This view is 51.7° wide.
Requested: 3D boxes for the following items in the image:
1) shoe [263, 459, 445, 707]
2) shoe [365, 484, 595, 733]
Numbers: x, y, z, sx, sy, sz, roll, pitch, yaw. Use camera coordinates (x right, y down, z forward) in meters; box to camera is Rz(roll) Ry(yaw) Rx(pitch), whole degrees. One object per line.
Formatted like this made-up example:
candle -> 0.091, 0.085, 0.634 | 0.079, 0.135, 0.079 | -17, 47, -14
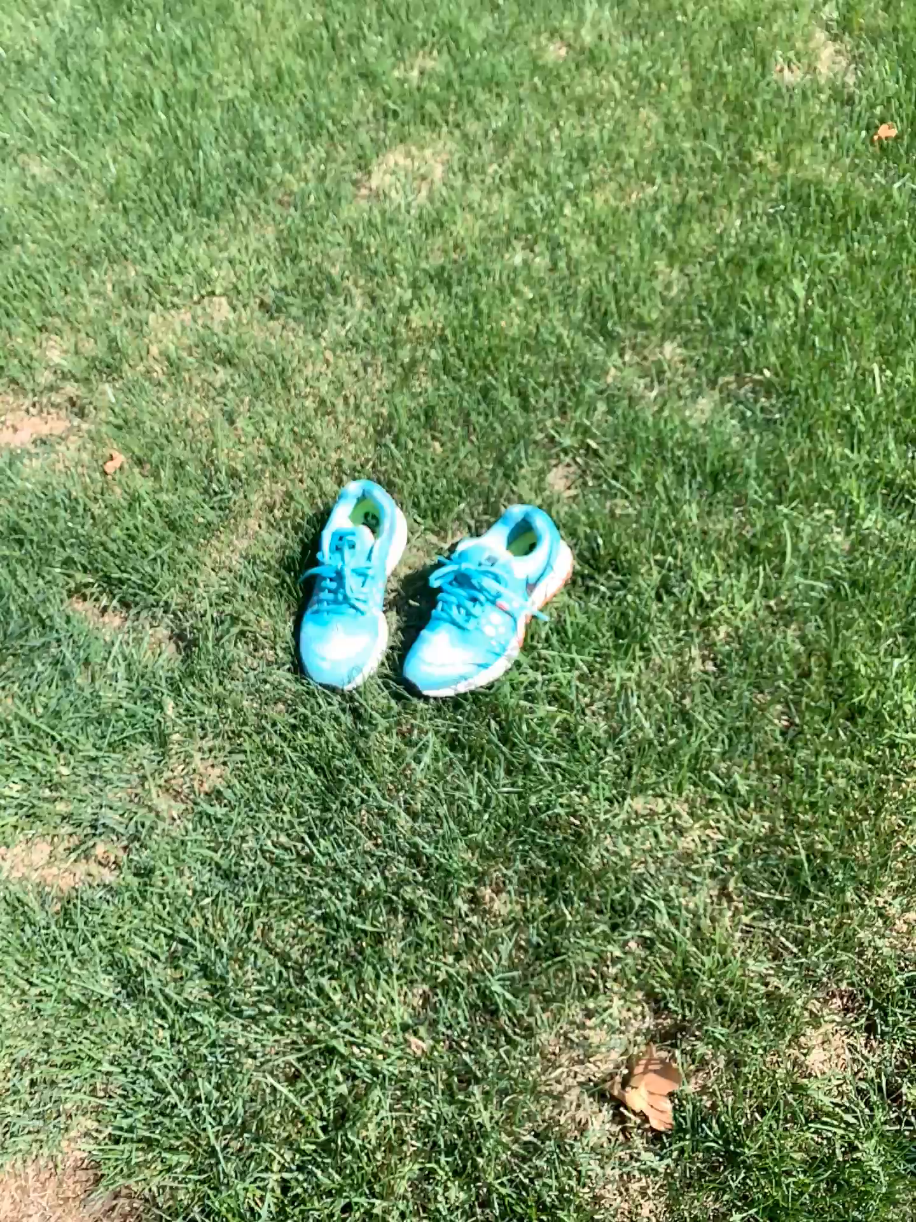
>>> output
shoe -> -0.108, -0.037, 1.068 | 0.120, 0.090, 0.260 | 9, 58, 11
shoe -> 0.030, -0.009, 1.015 | 0.120, 0.070, 0.250 | 27, 63, 24
